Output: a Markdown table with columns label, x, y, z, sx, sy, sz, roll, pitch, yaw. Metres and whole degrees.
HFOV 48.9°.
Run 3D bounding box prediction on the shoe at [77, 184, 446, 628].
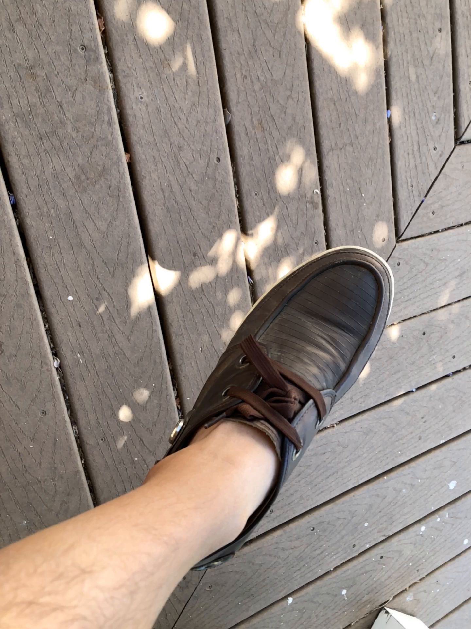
| label | x | y | z | sx | sy | sz | roll | pitch | yaw |
| --- | --- | --- | --- | --- | --- | --- | --- | --- | --- |
| shoe | 0.022 | 0.054 | 0.349 | 0.090 | 0.084 | 0.255 | 34 | 86 | 14 |
